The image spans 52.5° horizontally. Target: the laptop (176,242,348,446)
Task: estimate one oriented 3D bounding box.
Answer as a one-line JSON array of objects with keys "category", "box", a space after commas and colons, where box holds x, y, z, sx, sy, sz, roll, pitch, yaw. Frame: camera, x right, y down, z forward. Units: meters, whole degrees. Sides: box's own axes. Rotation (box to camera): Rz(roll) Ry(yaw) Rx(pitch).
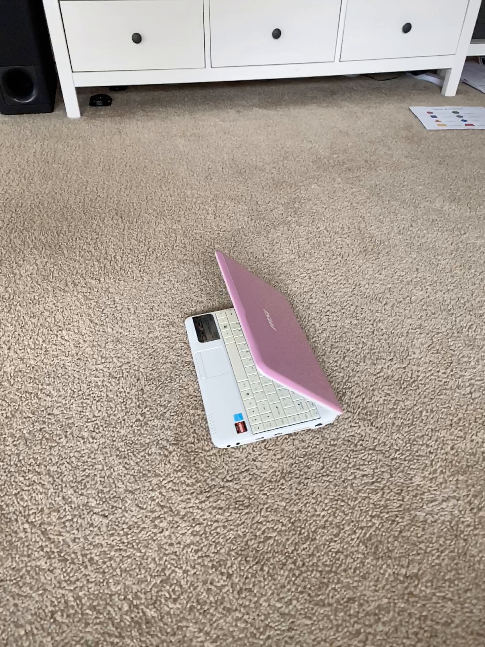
[{"category": "laptop", "box": [0.013, 0.016, 0.789, 0.193, 0.125, 0.292, -11, 43, -9]}]
